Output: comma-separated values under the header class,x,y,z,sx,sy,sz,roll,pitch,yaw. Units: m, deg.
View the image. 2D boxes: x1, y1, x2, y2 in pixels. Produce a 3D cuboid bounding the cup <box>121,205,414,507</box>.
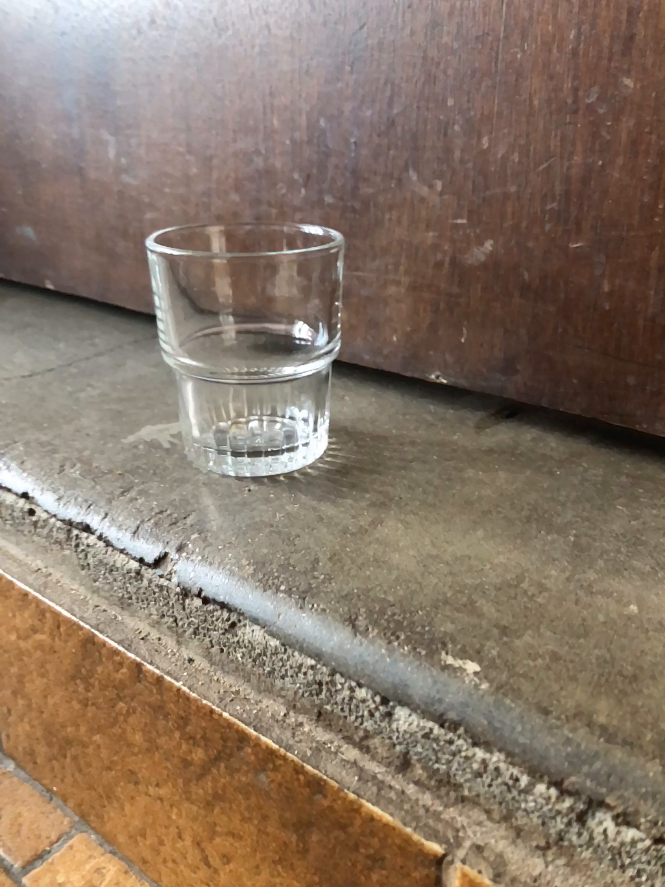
class,x,y,z,sx,sy,sz,roll,pitch,yaw
cup,-0.023,-0.037,0.263,0.070,0.080,0.070,0,24,0
